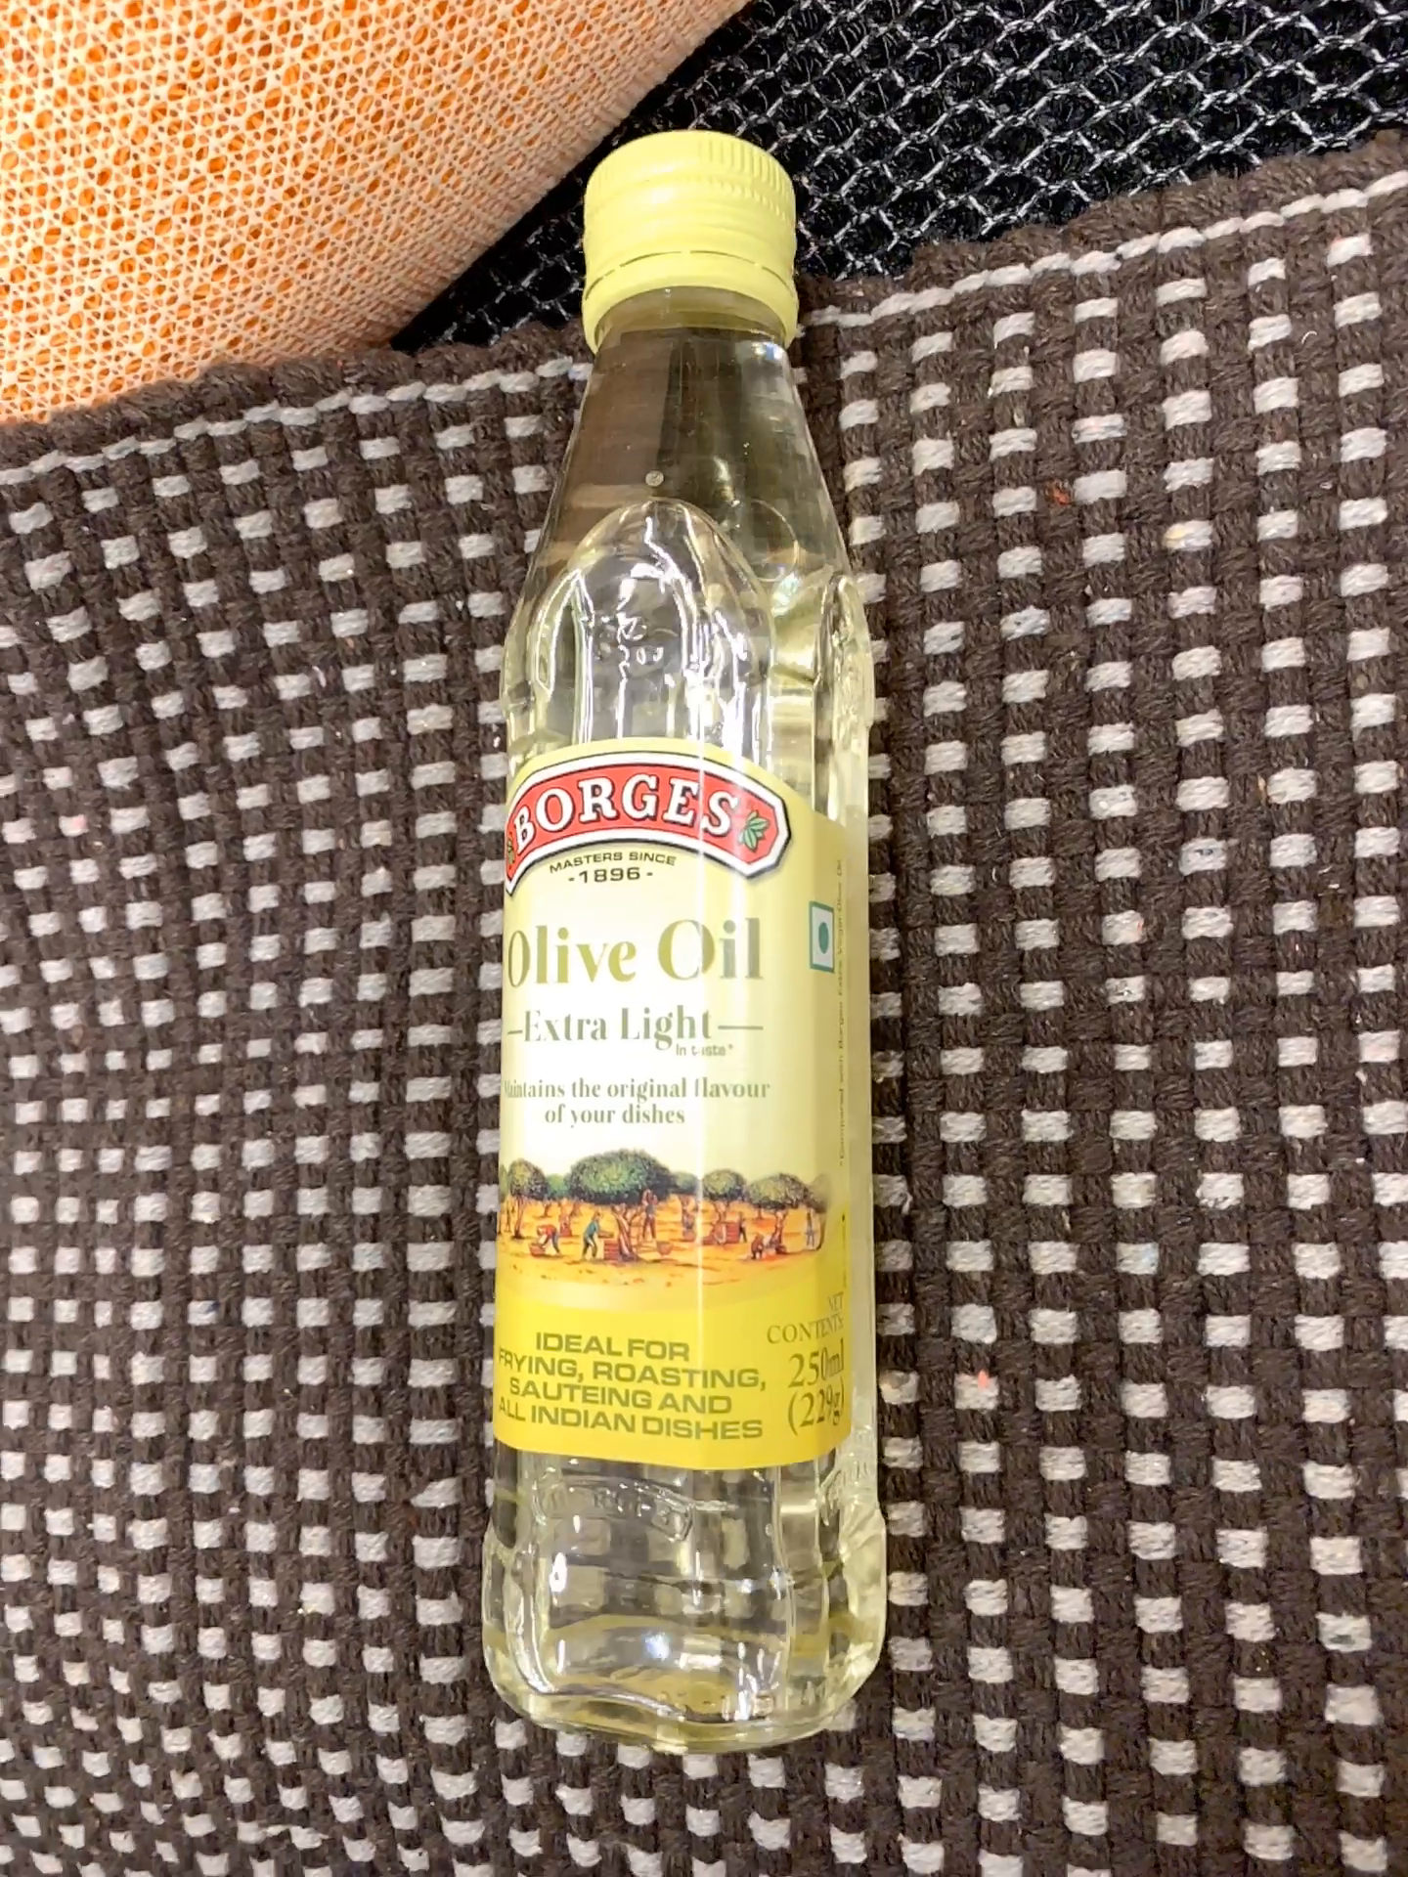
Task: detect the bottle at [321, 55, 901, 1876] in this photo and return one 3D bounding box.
[{"bbox_3d":[-0.009,0.001,0.189,0.060,0.040,0.200,-1,85,21],"label":"bottle"}]
